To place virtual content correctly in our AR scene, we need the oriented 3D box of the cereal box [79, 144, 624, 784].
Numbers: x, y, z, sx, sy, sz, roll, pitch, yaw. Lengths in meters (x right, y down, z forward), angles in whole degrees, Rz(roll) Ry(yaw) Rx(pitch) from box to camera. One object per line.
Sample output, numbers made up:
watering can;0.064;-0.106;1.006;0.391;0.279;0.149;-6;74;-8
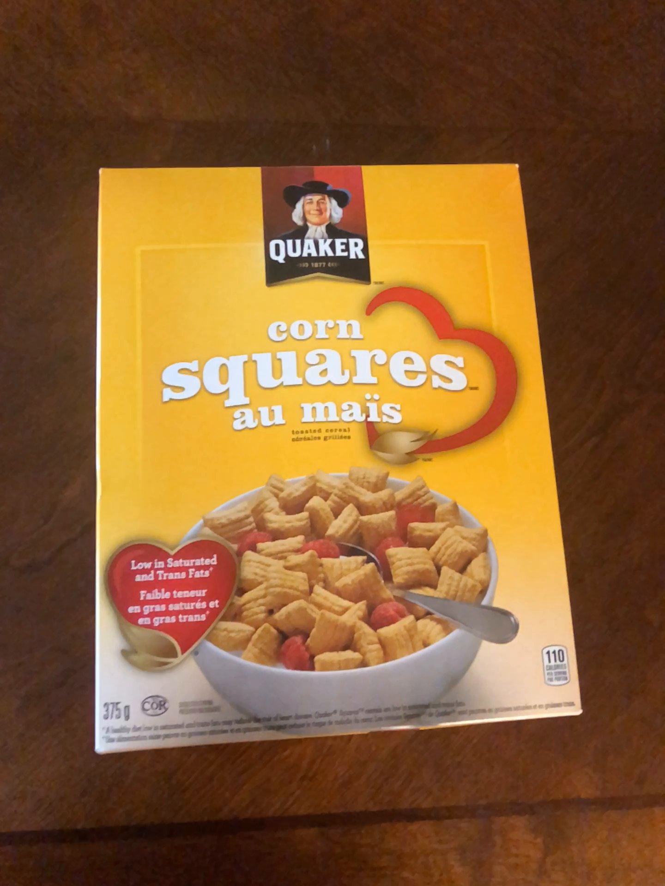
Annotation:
cereal box;0.001;-0.002;0.343;0.220;0.050;0.270;-2;79;-7
